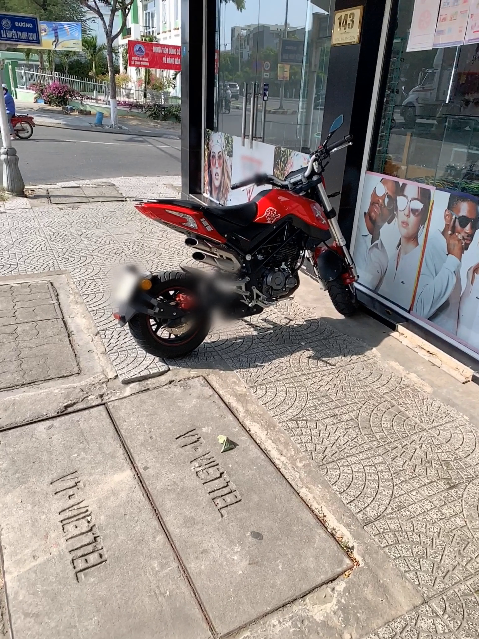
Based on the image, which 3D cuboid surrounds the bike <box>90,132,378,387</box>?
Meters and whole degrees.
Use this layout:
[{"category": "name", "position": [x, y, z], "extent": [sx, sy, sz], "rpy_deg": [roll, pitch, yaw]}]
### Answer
[{"category": "bike", "position": [0.066, -0.633, 3.435], "extent": [0.833, 1.216, 2.126], "rpy_deg": [24, 31, 39]}]
